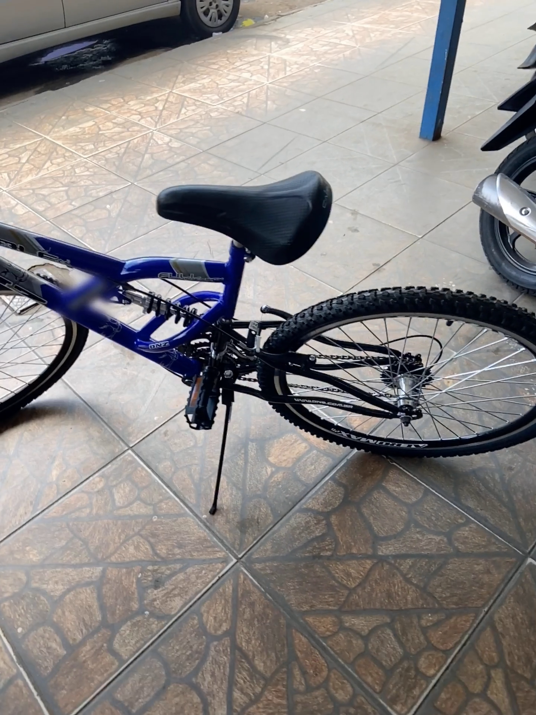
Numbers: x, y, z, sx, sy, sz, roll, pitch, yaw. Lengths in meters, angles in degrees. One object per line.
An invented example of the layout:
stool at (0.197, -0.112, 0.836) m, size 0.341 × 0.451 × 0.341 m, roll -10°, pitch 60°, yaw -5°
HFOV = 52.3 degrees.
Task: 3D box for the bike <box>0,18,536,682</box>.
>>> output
bike at (-0.213, 0.138, 0.971) m, size 1.610 × 1.019 × 0.517 m, roll -2°, pitch 45°, yaw 5°
